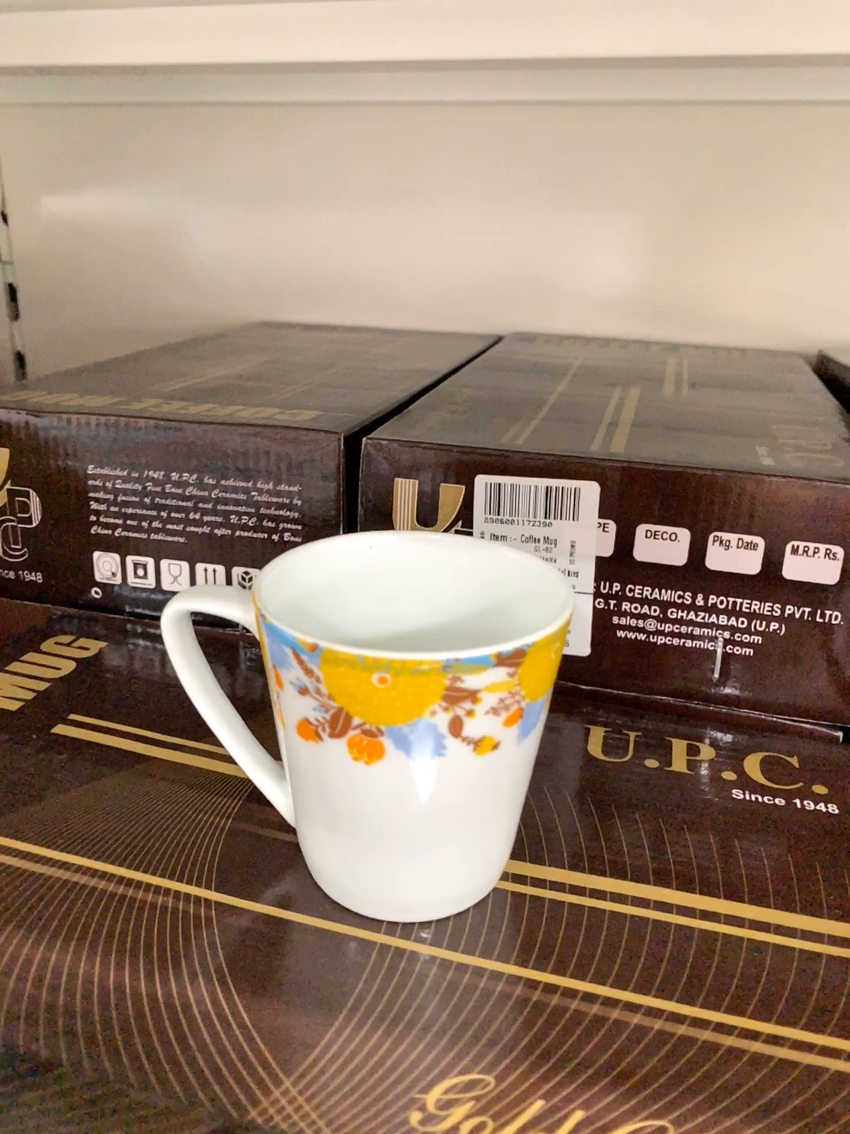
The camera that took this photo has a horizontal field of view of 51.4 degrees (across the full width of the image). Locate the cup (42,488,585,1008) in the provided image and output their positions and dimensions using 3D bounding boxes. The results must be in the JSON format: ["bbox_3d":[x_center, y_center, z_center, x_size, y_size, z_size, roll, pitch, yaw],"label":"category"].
[{"bbox_3d":[-0.017,0.030,0.192,0.090,0.070,0.070,7,22,14],"label":"cup"}]
